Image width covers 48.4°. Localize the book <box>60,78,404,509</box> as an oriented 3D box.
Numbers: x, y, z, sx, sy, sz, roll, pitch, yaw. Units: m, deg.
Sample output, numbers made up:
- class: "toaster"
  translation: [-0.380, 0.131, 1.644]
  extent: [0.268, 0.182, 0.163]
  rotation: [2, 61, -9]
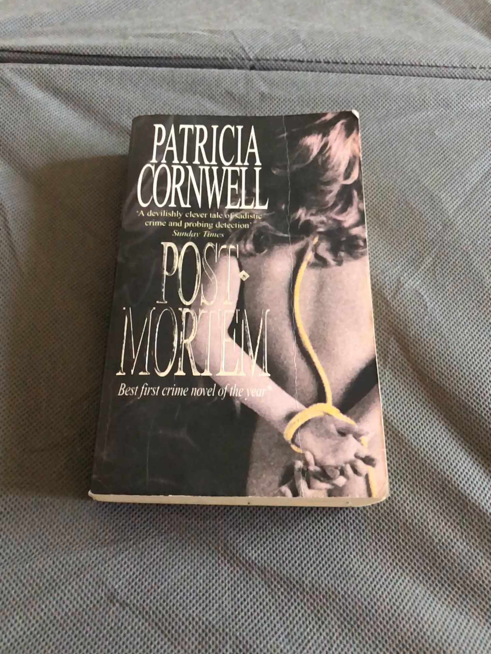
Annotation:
- class: "book"
  translation: [-0.004, -0.020, 0.235]
  extent: [0.110, 0.050, 0.181]
  rotation: [1, 65, -2]
